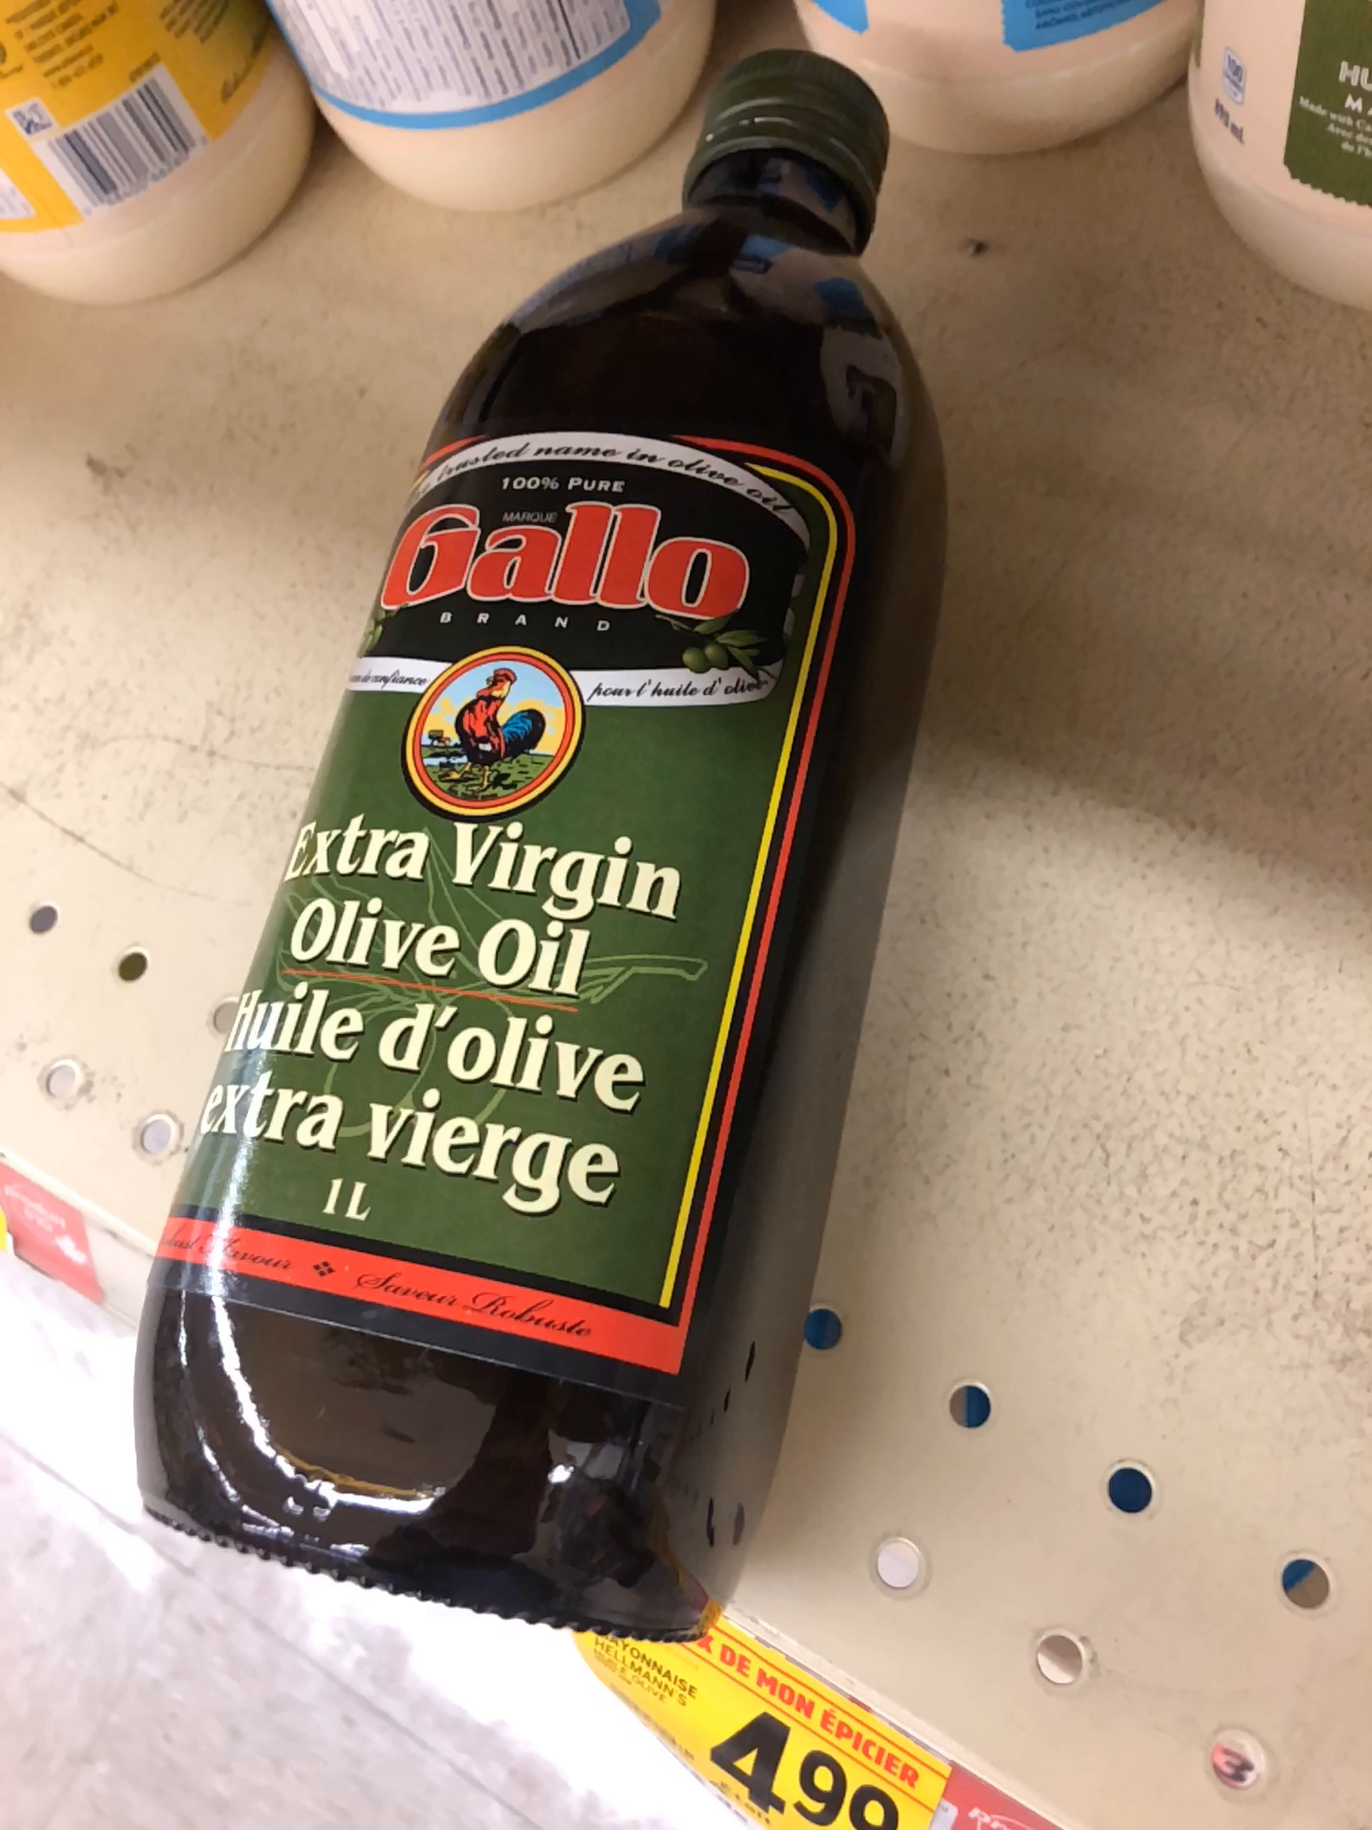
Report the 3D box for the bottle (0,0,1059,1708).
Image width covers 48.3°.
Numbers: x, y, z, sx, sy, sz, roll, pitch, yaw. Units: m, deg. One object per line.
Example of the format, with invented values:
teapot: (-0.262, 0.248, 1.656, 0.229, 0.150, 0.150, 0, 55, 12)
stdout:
bottle: (-0.007, -0.038, 0.243, 0.090, 0.090, 0.271, 7, 69, 18)
